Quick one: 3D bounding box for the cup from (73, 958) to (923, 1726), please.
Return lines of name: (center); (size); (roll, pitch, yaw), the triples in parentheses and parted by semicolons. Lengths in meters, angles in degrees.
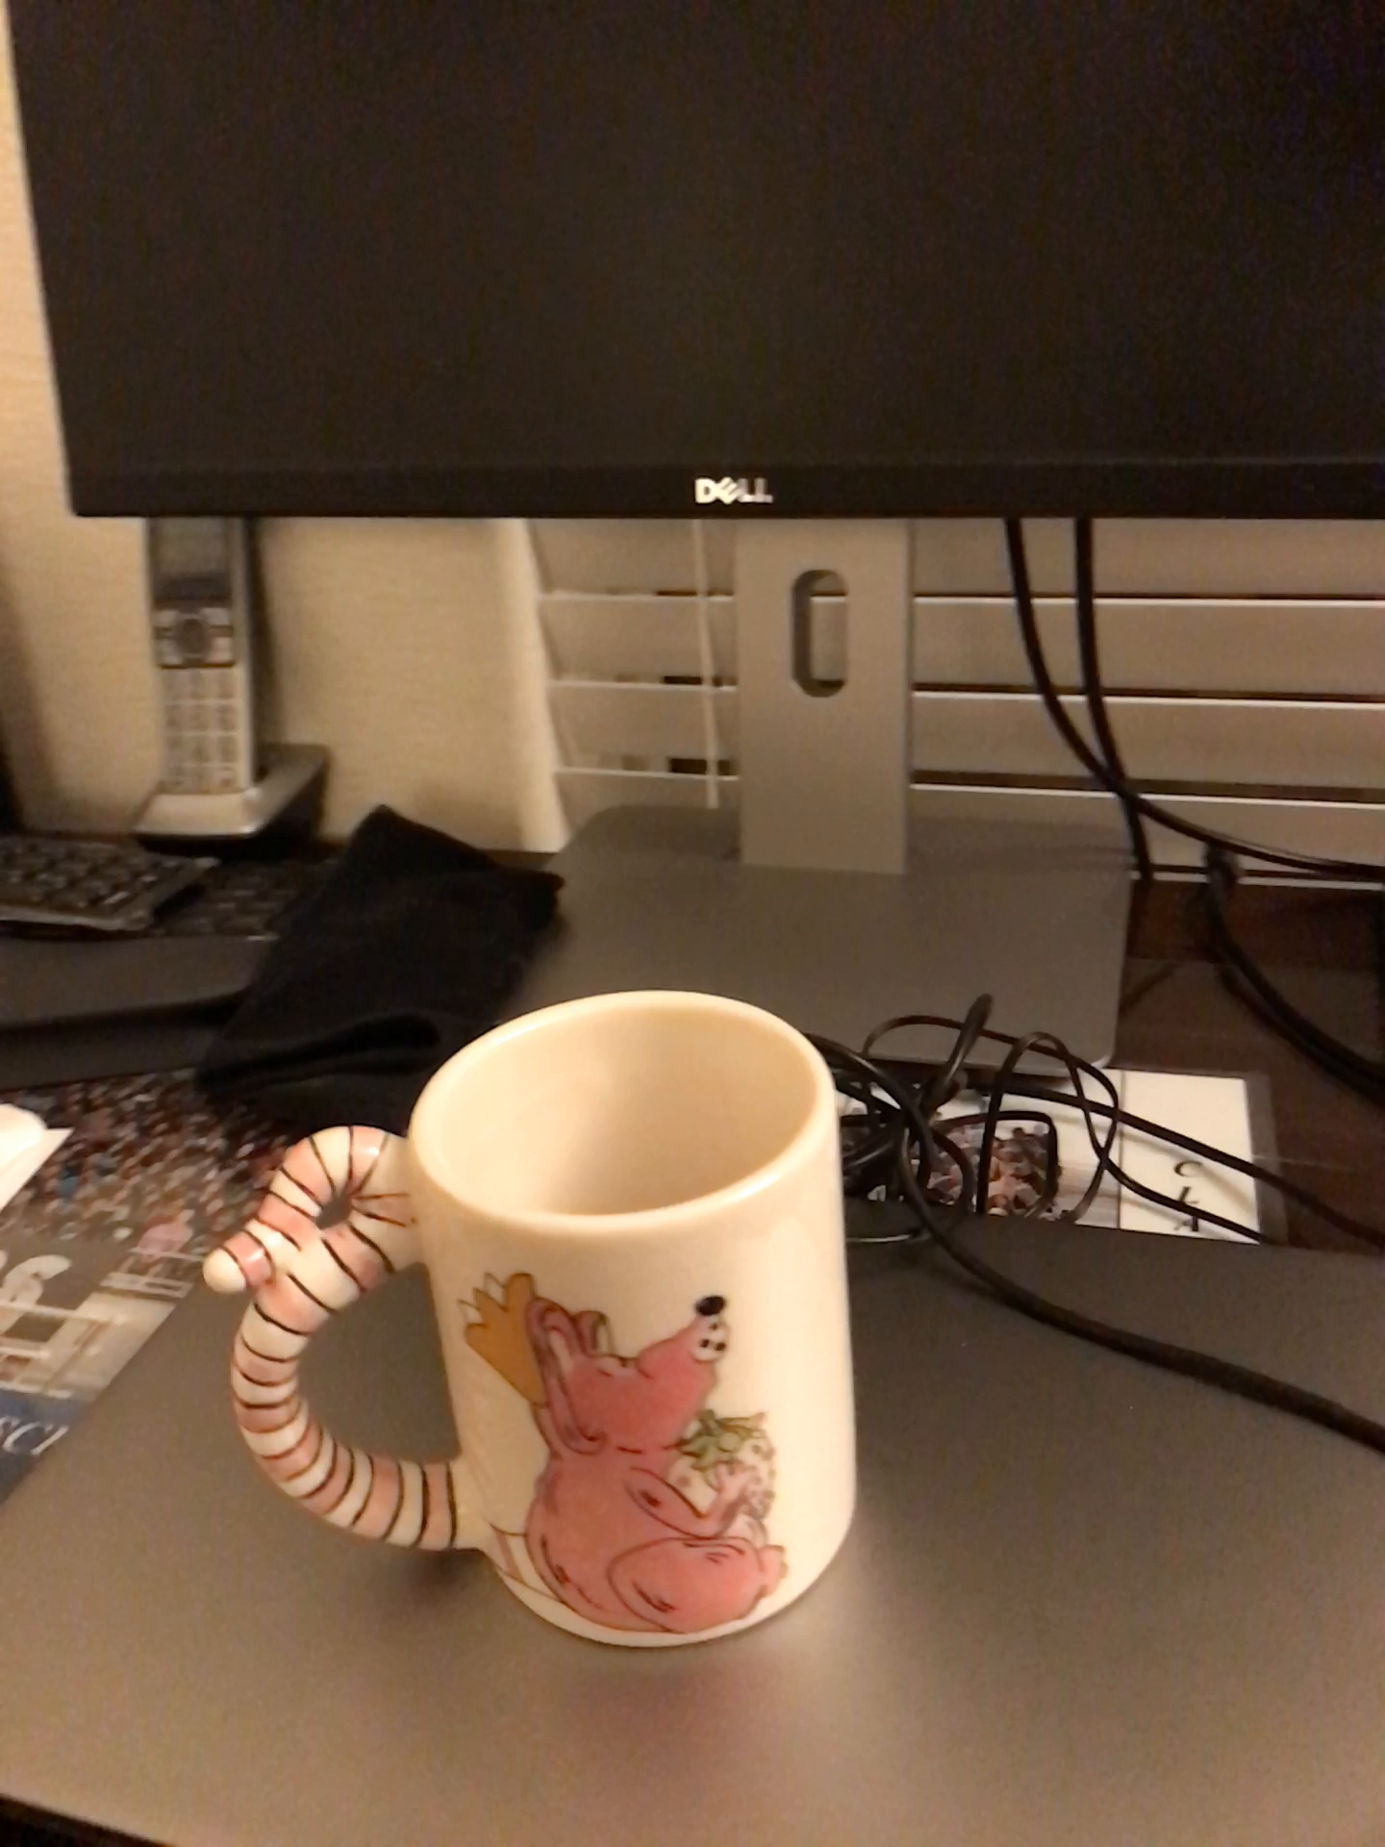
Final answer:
cup: (-0.029, 0.075, 0.289); (0.130, 0.099, 0.080); (-5, 24, -3)
